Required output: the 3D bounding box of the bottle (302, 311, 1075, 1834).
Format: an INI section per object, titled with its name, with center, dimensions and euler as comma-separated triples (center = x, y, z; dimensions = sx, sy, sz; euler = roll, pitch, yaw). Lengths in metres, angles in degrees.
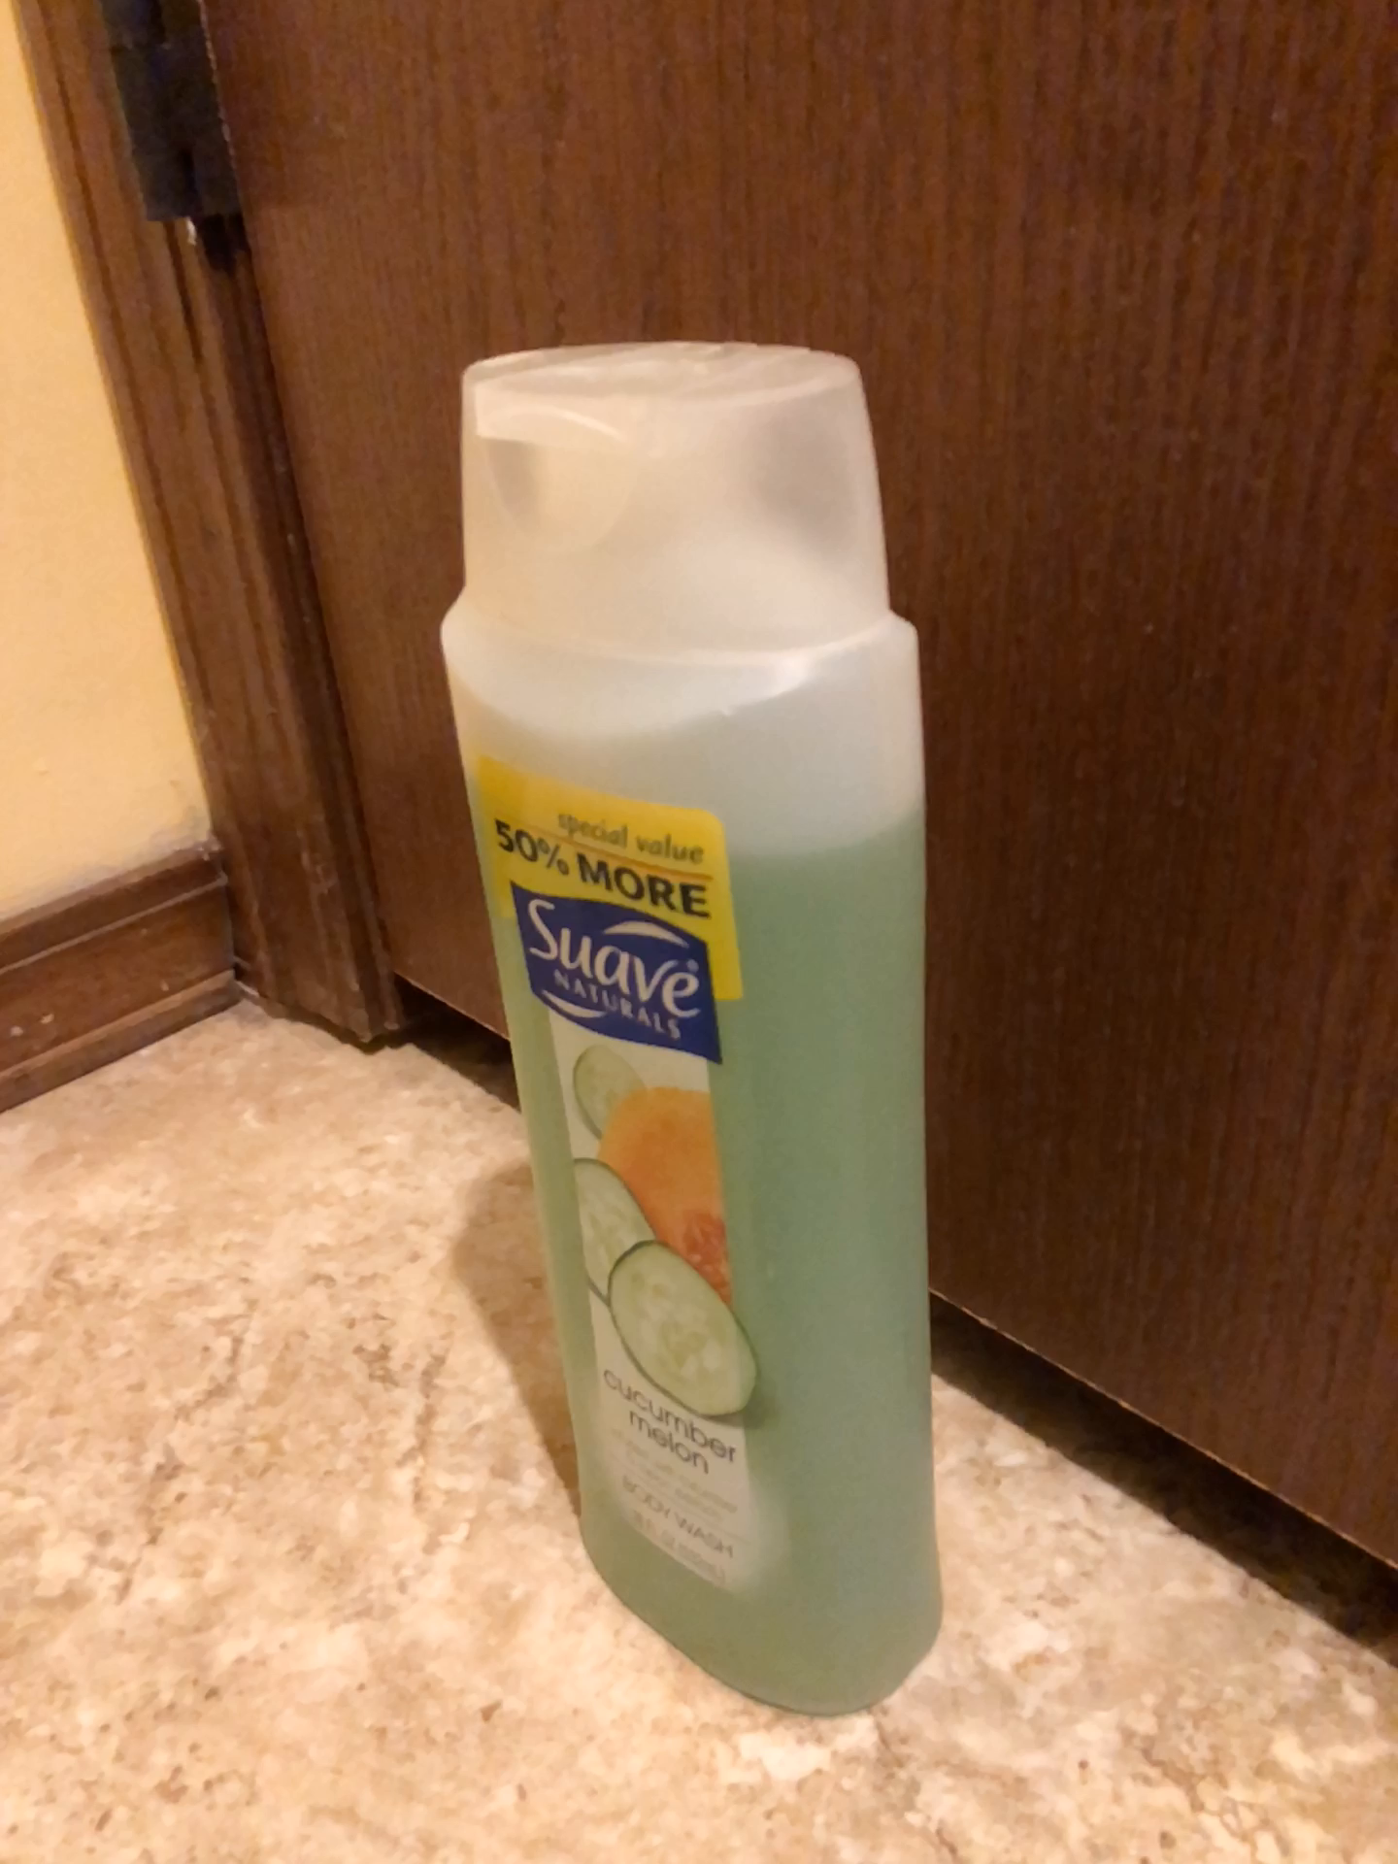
[bottle]
center = 0.006, 0.029, 0.256
dimensions = 0.090, 0.239, 0.050
euler = 19, 36, 38
